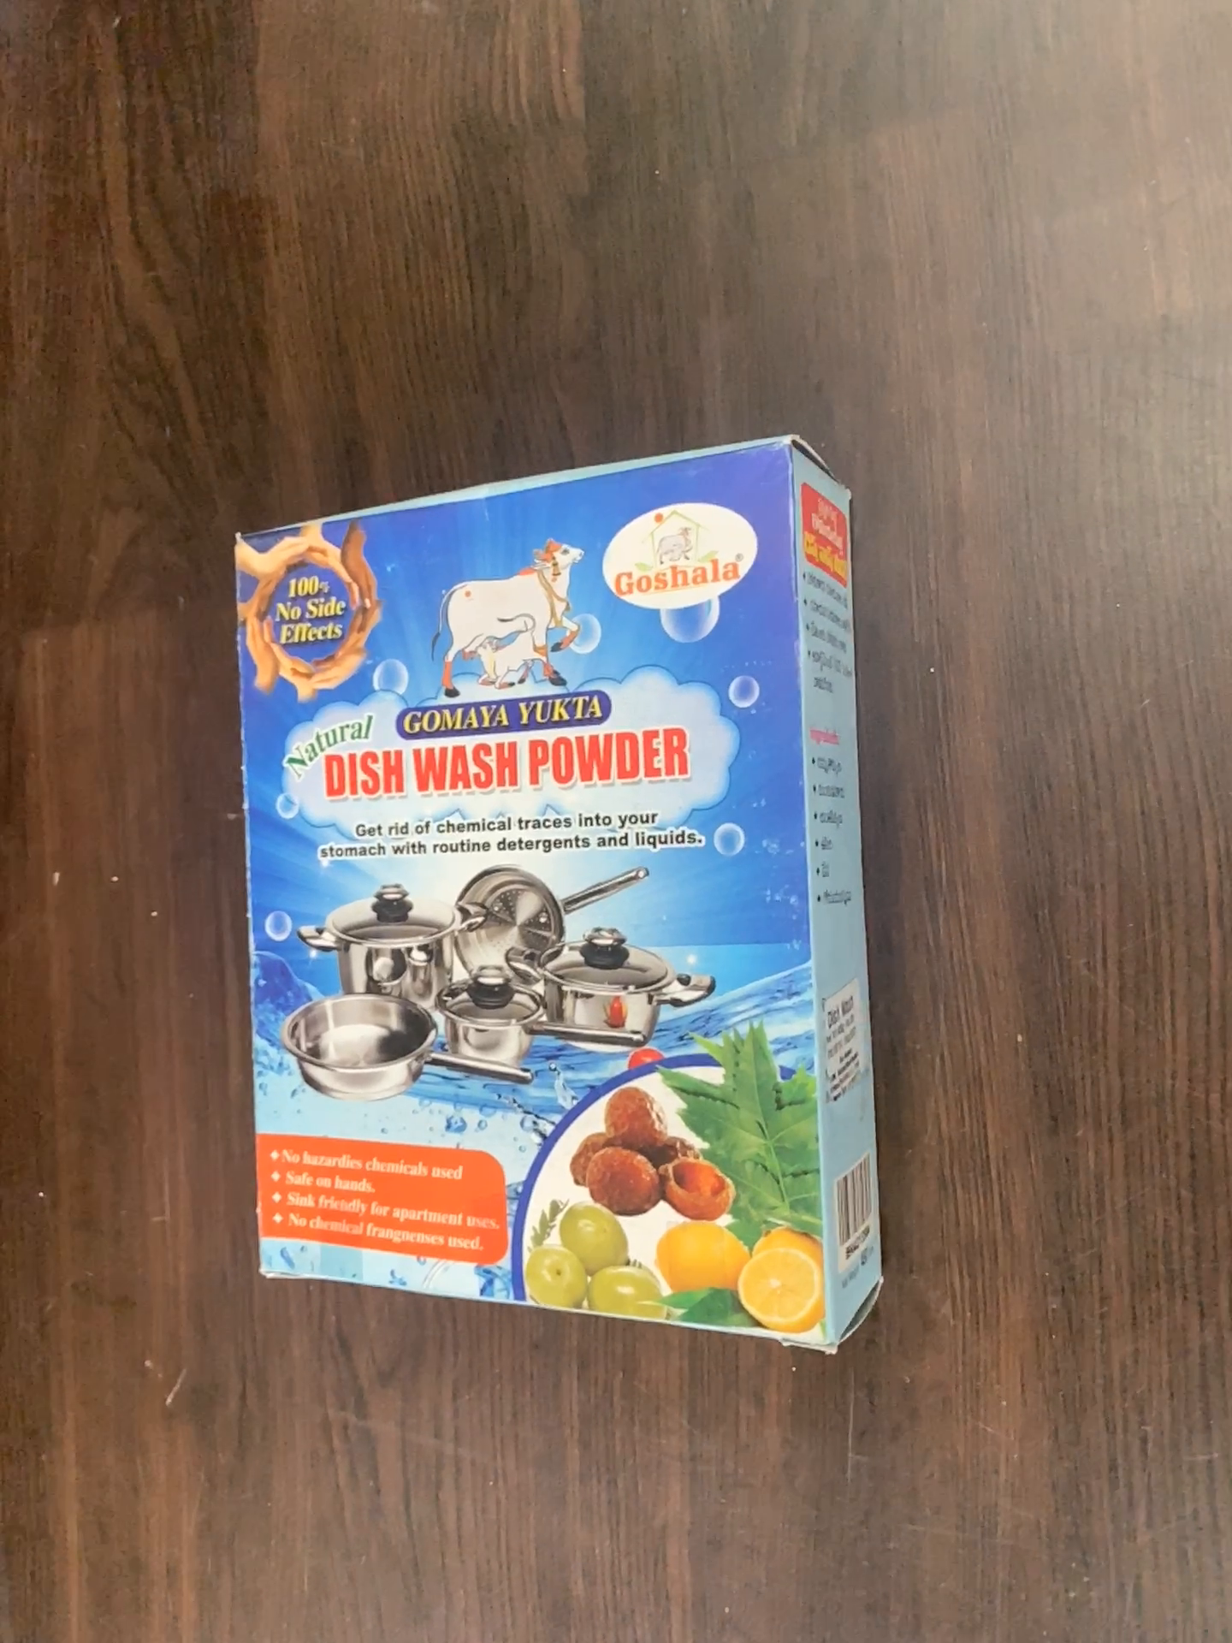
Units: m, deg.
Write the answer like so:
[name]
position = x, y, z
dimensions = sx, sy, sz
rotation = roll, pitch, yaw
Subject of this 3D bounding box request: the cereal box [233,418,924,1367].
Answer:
[cereal box]
position = -0.011, 0.016, 0.287
dimensions = 0.140, 0.060, 0.170
rotation = -3, 86, 26
